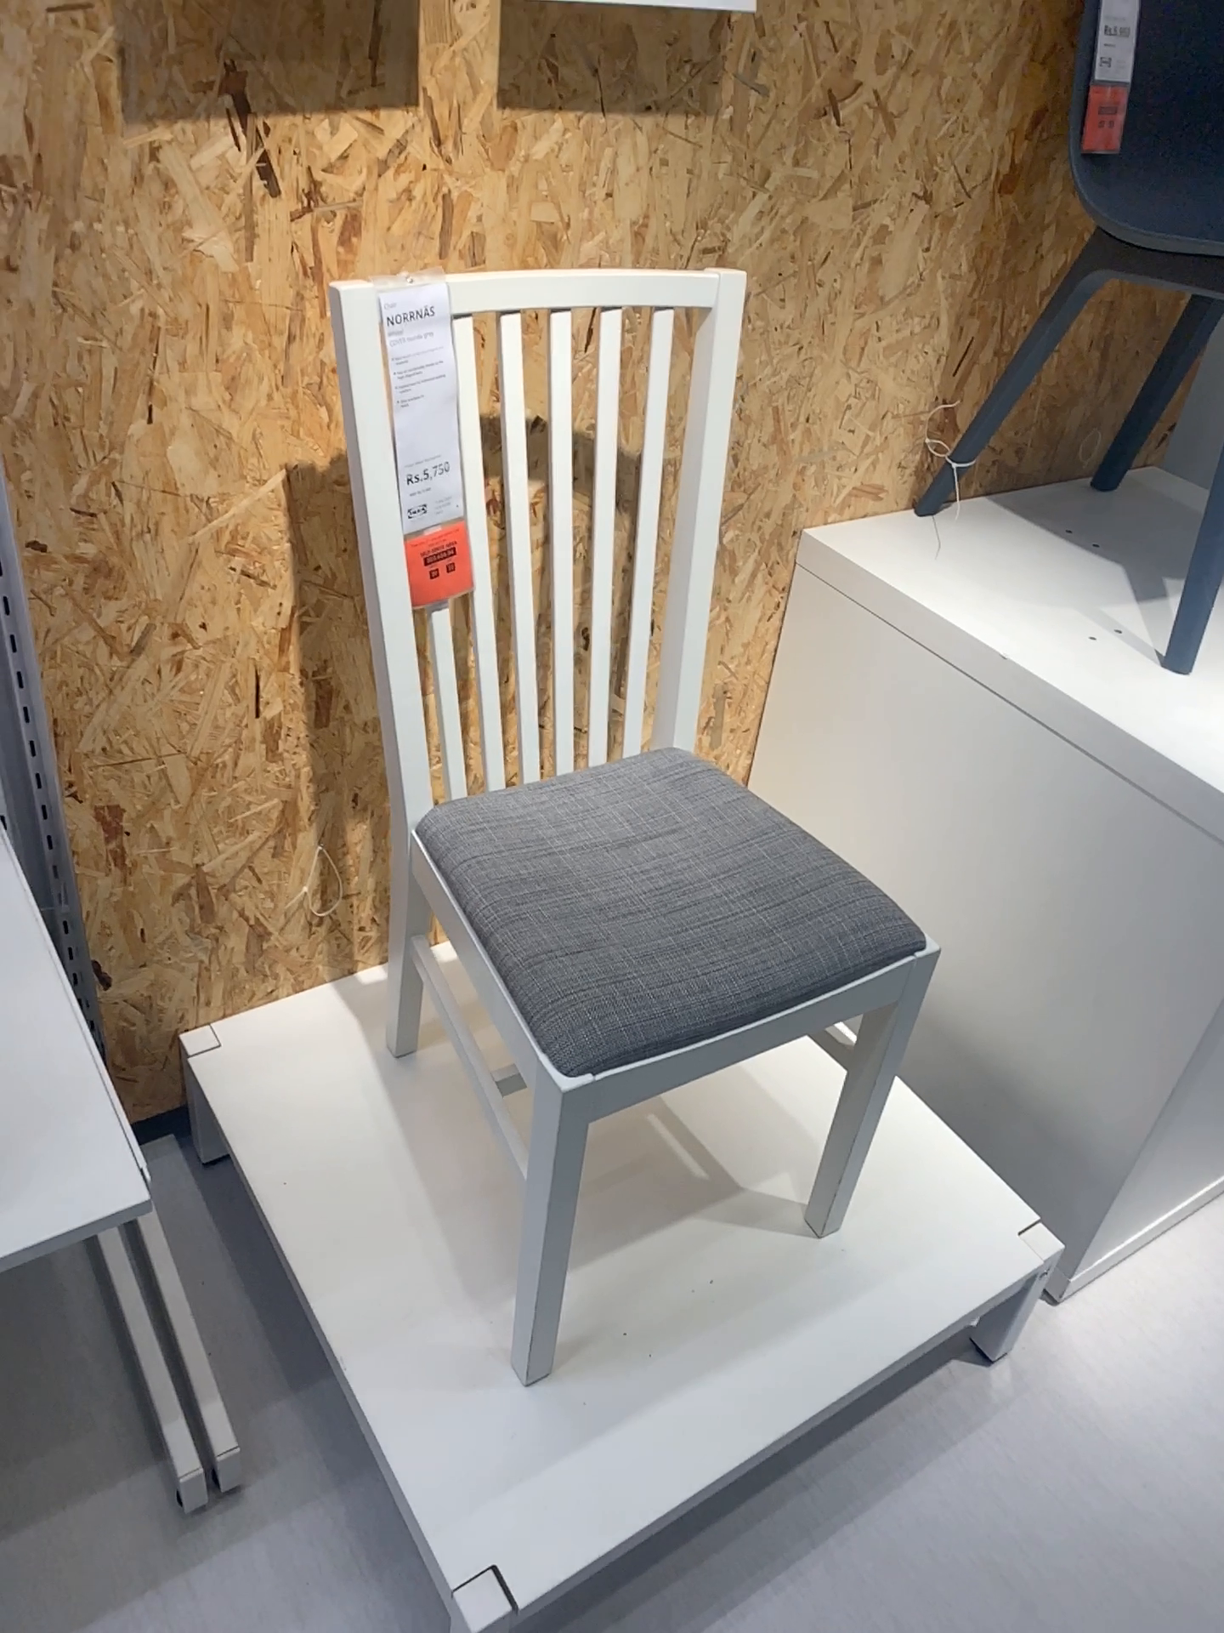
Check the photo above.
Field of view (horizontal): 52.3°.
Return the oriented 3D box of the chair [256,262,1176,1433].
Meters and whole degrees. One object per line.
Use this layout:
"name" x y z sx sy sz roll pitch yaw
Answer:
"chair" 0.000 0.010 1.232 0.471 0.896 0.592 -15 42 -28
